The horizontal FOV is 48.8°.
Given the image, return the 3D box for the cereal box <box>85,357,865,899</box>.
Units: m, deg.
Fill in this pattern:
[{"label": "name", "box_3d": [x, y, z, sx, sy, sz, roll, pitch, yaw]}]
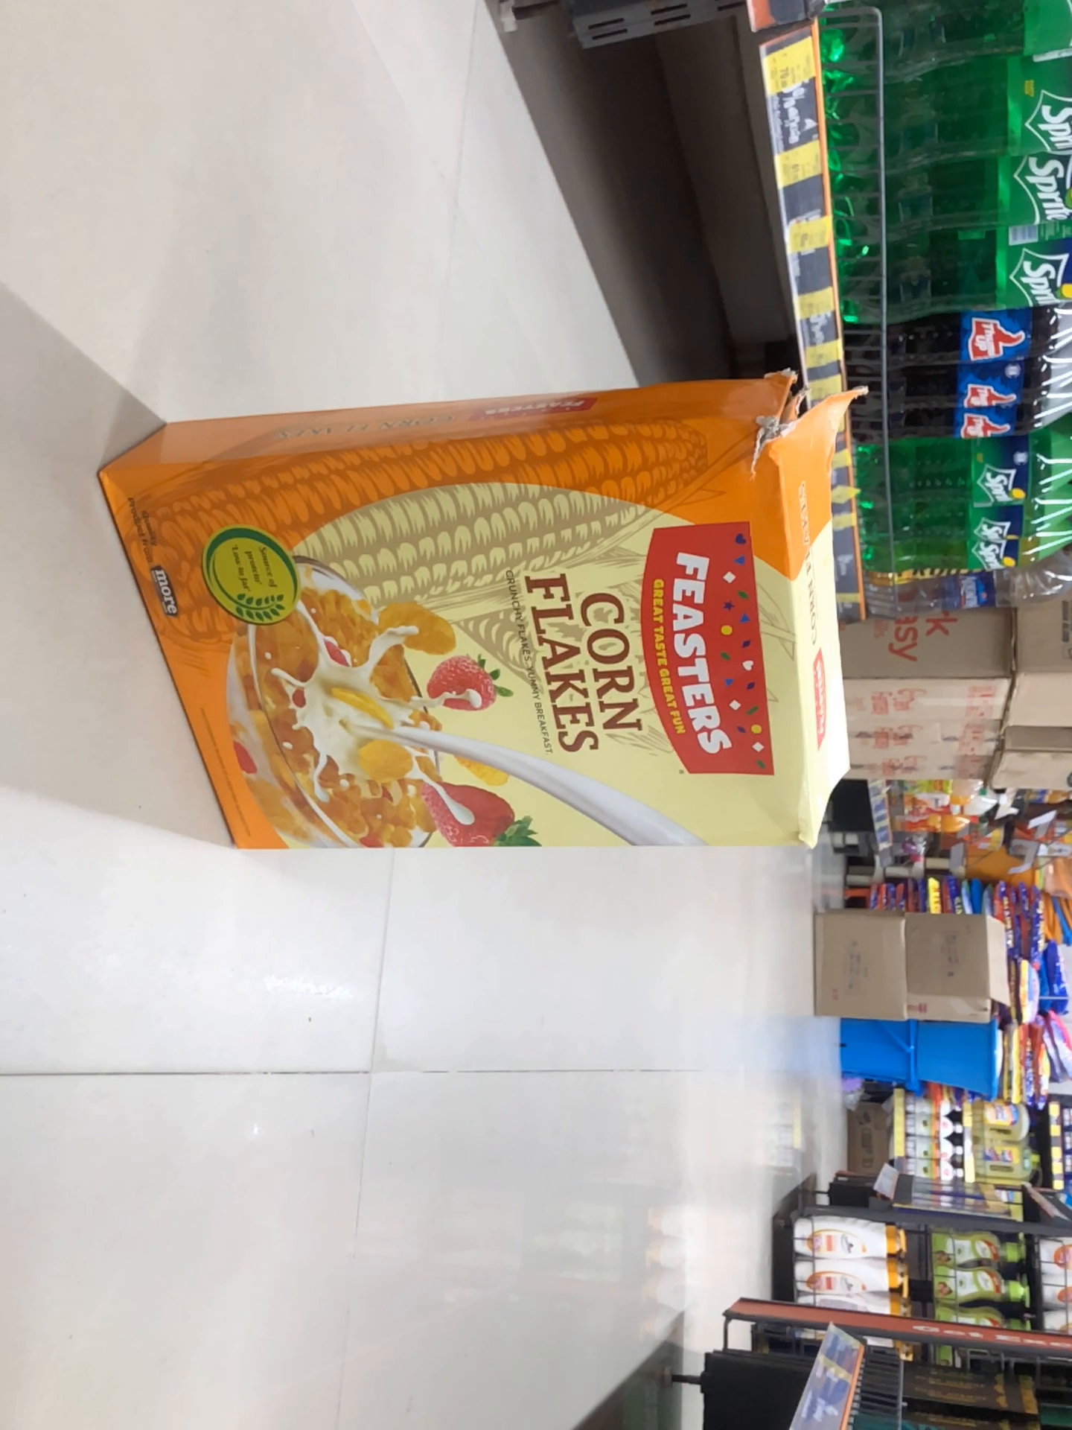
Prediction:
[{"label": "cereal box", "box_3d": [-0.013, -0.023, 0.472, 0.060, 0.269, 0.190, -70, 153, -58]}]
